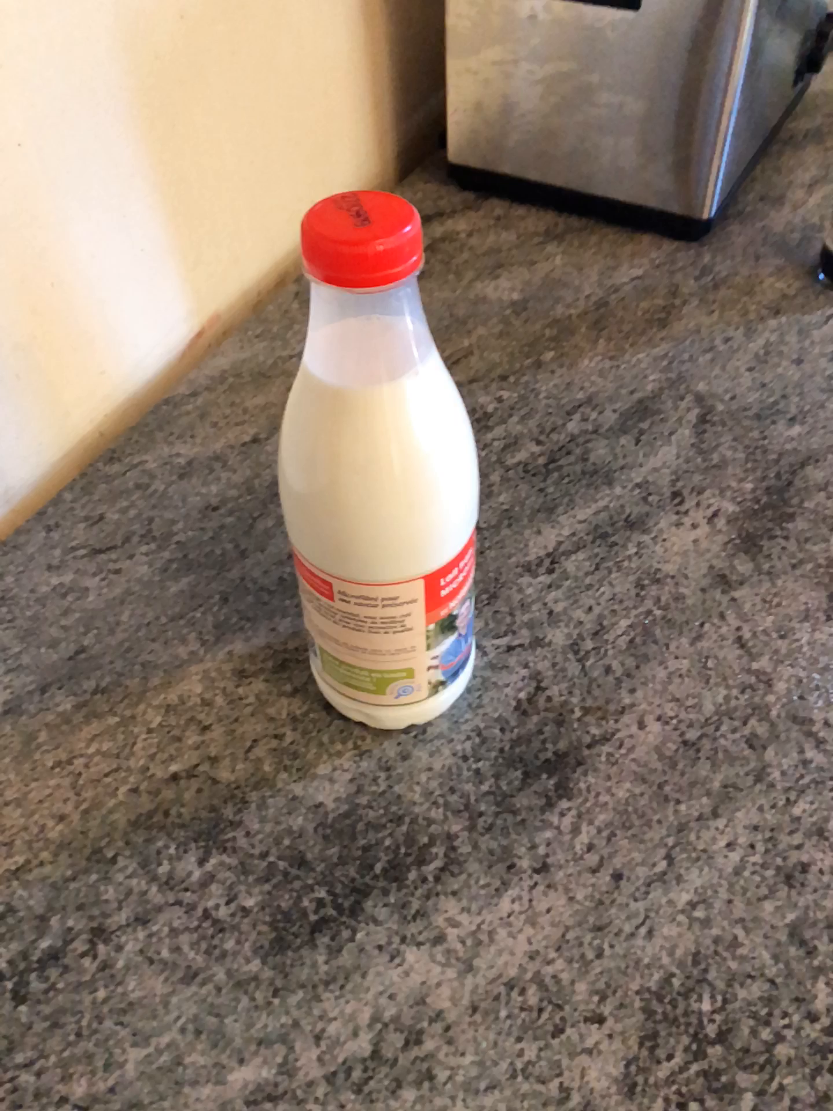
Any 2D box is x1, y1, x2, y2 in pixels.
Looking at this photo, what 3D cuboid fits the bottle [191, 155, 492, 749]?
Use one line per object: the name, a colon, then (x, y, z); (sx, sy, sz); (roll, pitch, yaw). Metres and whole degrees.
bottle: (-0.016, -0.028, 0.396); (0.080, 0.248, 0.091); (7, 47, 10)
